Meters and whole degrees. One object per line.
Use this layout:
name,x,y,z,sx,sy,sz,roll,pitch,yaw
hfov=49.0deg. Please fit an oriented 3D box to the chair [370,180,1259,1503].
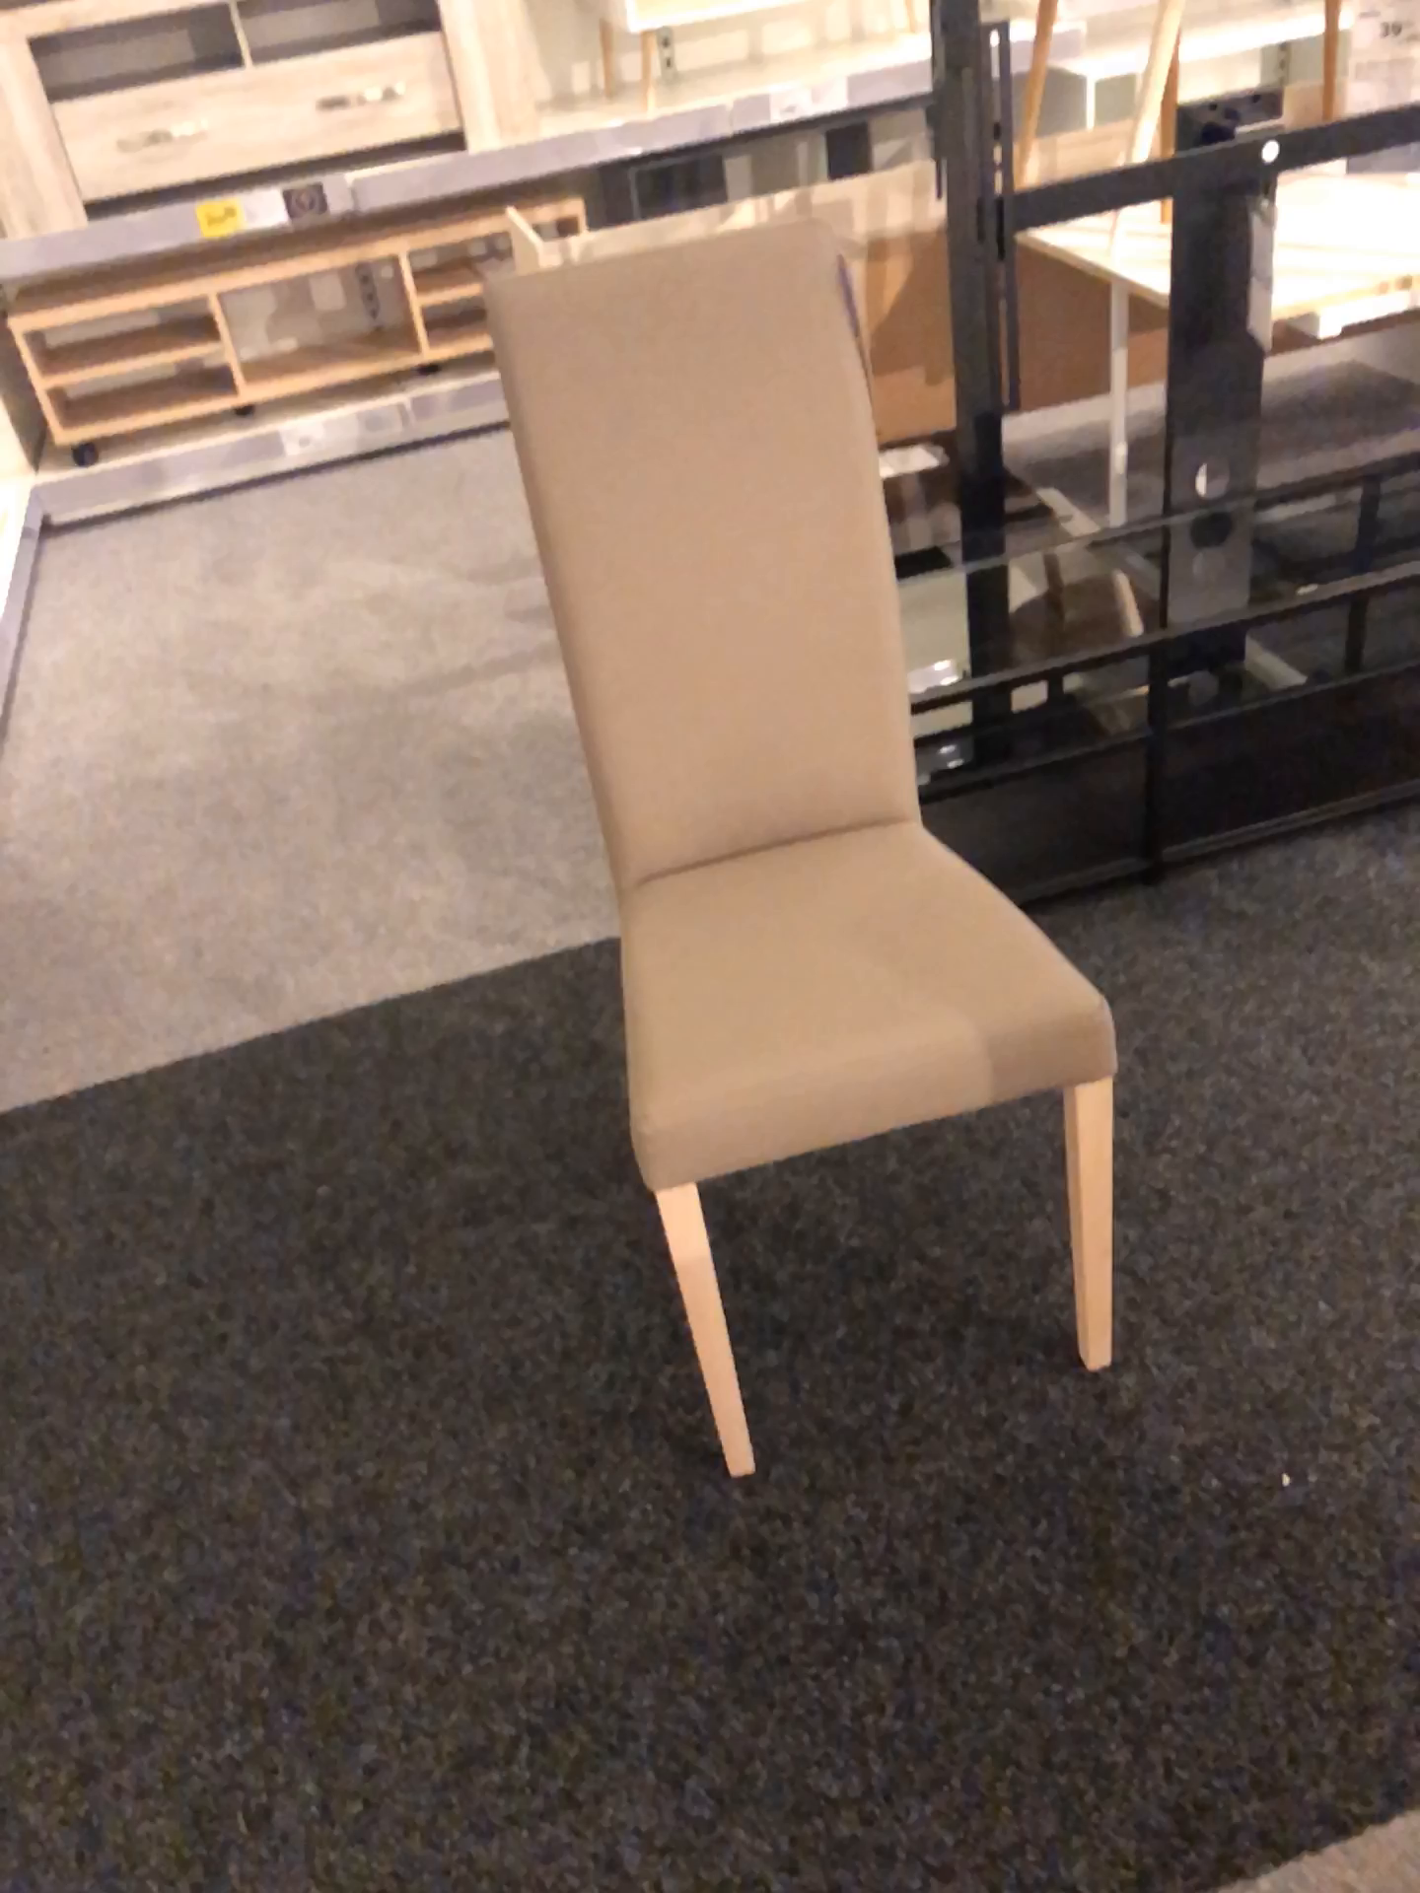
chair,0.078,-0.101,1.447,0.530,0.944,0.633,-13,35,-5
